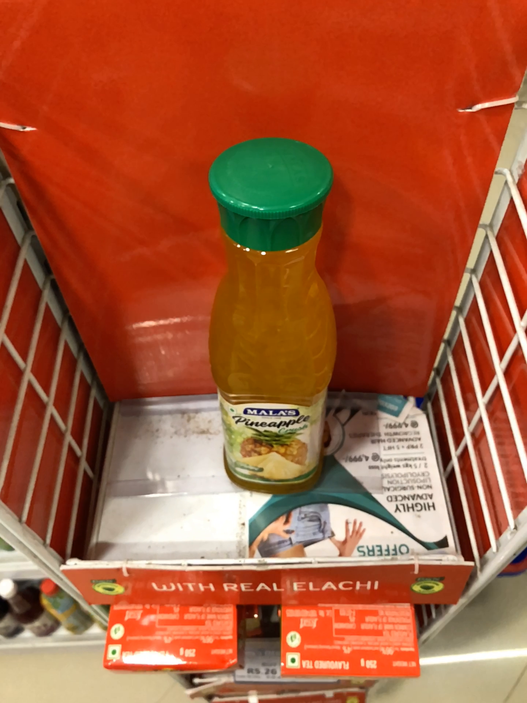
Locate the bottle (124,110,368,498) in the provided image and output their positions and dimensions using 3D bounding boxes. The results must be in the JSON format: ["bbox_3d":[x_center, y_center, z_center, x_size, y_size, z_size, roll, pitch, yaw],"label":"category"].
[{"bbox_3d":[-0.001,-0.001,0.341,0.090,0.259,0.070,1,54,3],"label":"bottle"}]
